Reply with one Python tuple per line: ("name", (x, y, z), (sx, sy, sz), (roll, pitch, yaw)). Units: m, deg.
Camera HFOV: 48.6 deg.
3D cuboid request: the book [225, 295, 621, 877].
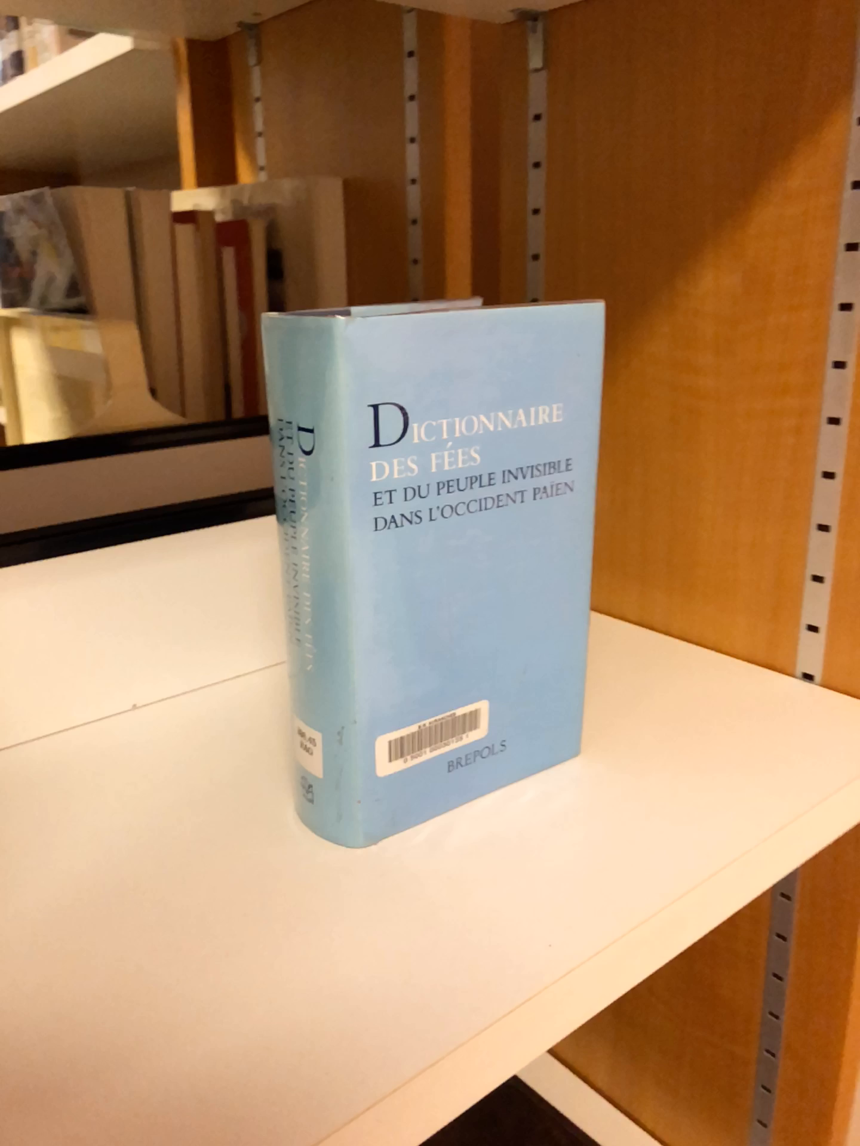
("book", (0.000, -0.004, 0.356), (0.125, 0.186, 0.060), (-13, 22, -35))
